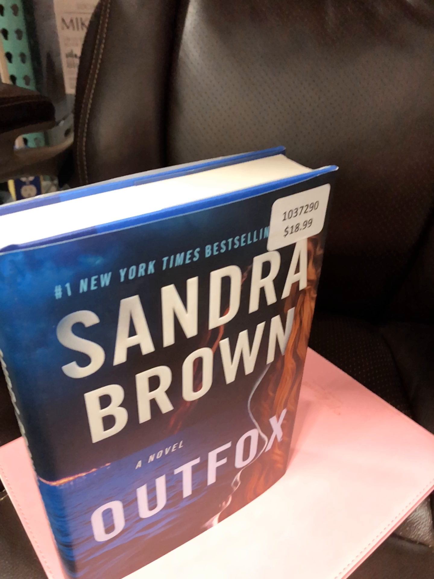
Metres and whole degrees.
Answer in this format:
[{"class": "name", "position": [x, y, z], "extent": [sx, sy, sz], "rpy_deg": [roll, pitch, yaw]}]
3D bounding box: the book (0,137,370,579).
[{"class": "book", "position": [-0.020, 0.052, 0.257], "extent": [0.167, 0.228, 0.048], "rpy_deg": [-19, 41, -29]}]
